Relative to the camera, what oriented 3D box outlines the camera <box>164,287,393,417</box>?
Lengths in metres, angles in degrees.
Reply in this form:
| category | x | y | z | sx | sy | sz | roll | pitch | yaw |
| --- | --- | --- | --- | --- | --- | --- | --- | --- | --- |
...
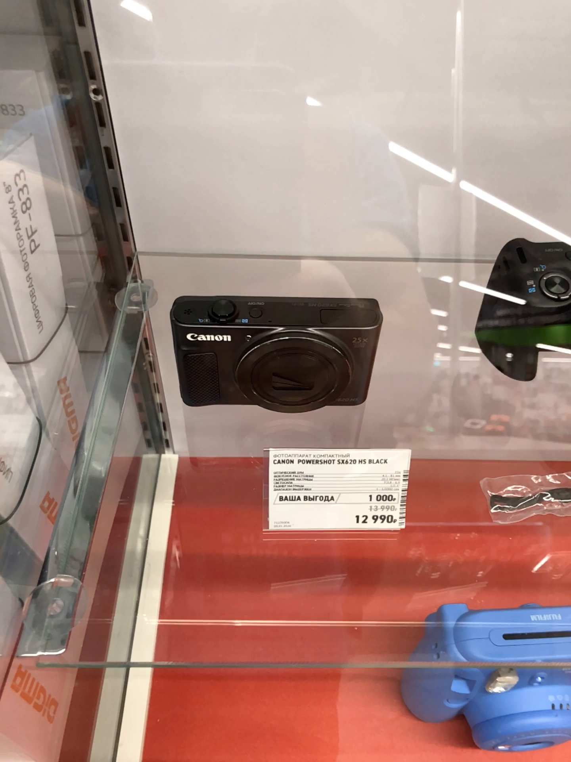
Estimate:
| category | x | y | z | sx | sy | sz | roll | pitch | yaw |
| --- | --- | --- | --- | --- | --- | --- | --- | --- | --- |
| camera | -0.004 | -0.013 | 0.301 | 0.098 | 0.055 | 0.030 | 1 | 49 | -1 |
